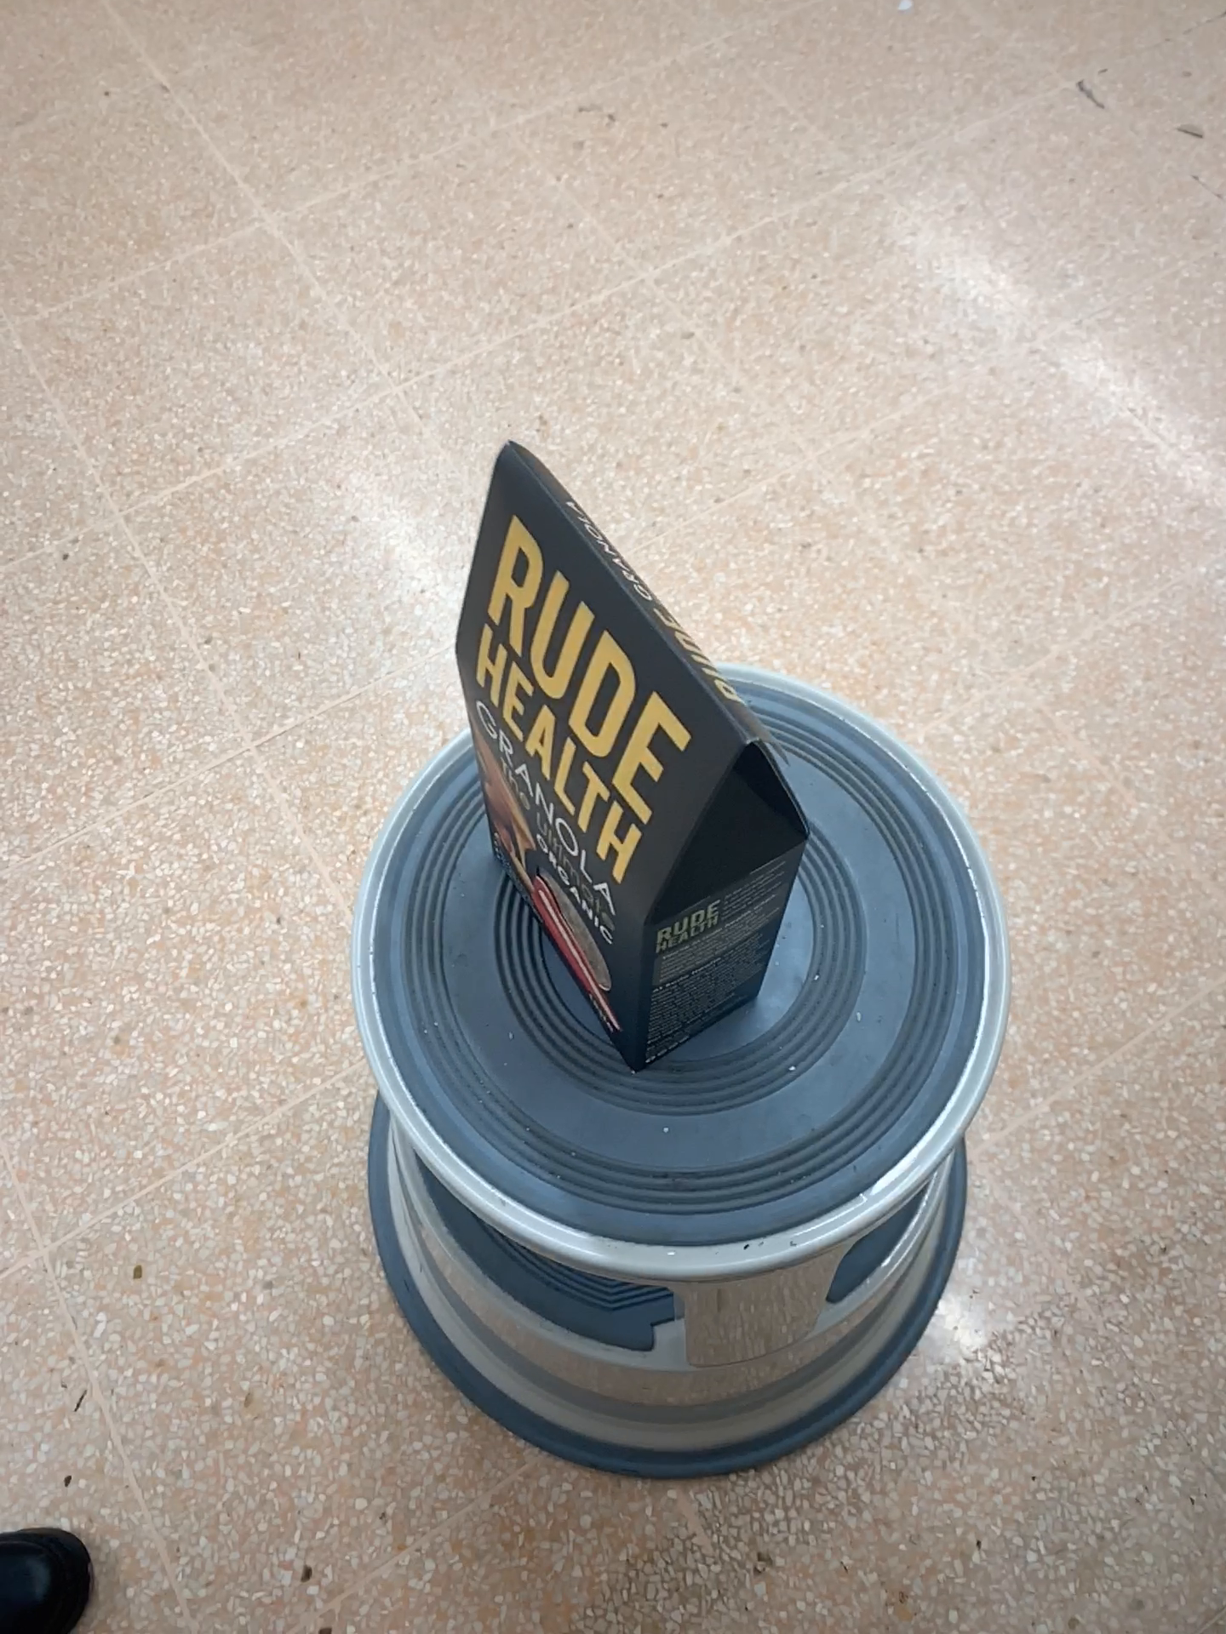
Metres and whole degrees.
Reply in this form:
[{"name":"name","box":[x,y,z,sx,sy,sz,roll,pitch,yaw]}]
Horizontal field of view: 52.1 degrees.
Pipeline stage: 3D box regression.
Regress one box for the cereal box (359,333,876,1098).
[{"name":"cereal box","box":[0.001,-0.011,0.439,0.070,0.258,0.141,-29,66,-12]}]
